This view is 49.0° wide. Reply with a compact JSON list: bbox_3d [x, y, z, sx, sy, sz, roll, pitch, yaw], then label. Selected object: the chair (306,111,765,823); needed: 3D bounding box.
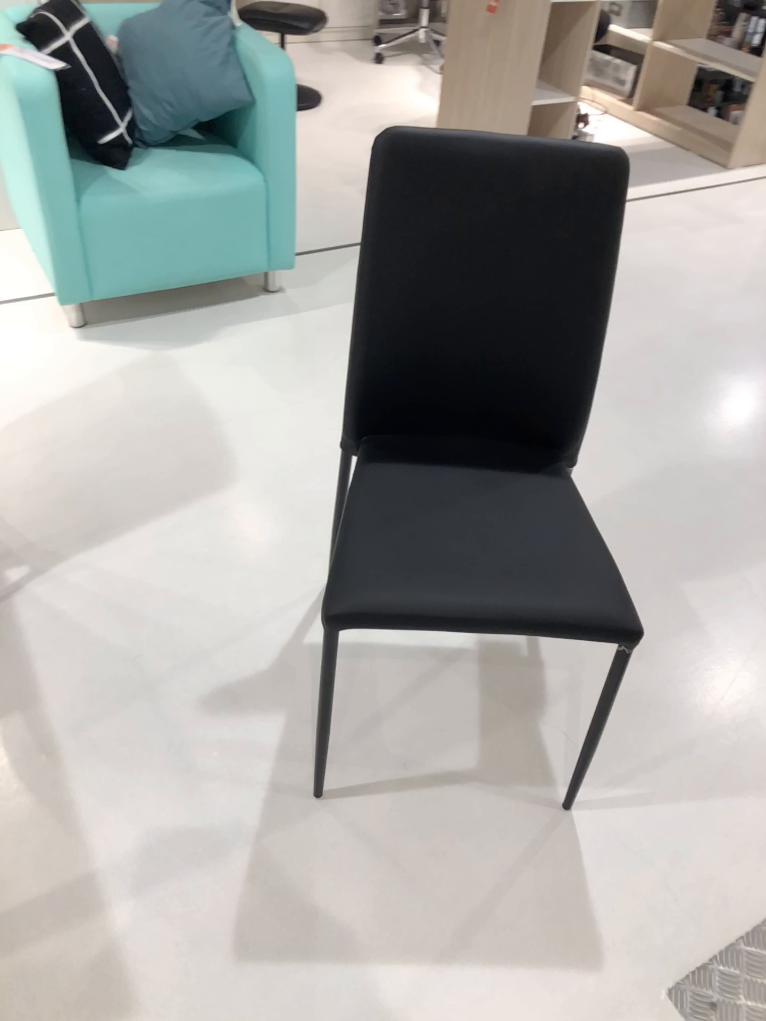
[{"bbox_3d":[0.131,-0.037,1.269,0.450,0.863,0.605,3,41,-3],"label":"chair"}]
